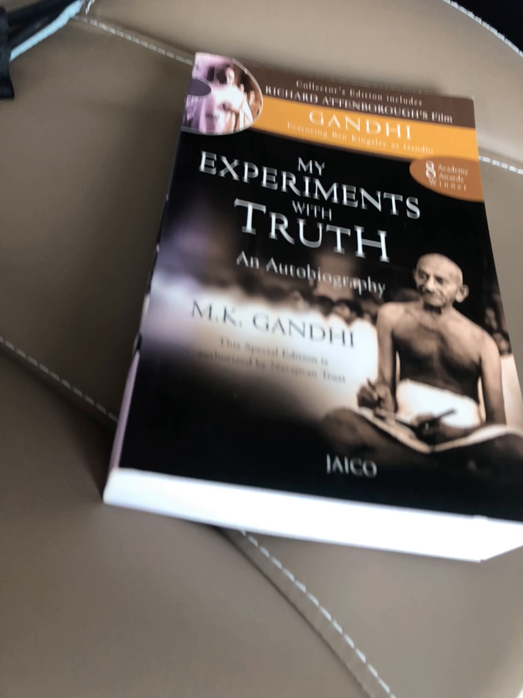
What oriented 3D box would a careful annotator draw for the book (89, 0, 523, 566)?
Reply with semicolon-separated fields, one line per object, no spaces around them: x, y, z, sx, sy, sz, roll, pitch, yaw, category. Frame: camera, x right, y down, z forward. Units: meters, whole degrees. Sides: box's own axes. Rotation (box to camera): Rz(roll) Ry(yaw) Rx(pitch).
0.029;-0.045;0.250;0.150;0.050;0.241;10;56;-10;book
